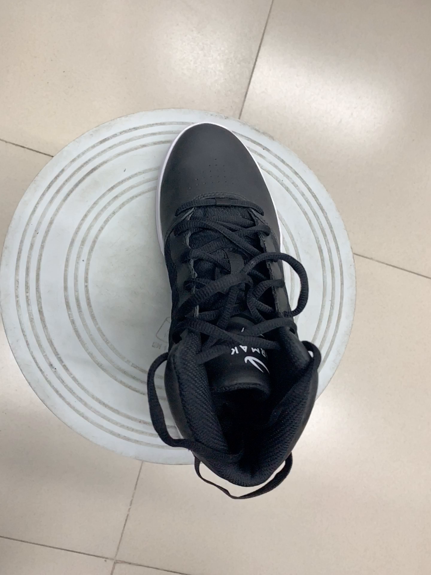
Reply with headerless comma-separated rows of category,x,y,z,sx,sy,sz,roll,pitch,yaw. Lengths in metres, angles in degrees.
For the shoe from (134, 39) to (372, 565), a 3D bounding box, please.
shoe,0.009,0.002,0.257,0.090,0.100,0.240,-5,85,-10
